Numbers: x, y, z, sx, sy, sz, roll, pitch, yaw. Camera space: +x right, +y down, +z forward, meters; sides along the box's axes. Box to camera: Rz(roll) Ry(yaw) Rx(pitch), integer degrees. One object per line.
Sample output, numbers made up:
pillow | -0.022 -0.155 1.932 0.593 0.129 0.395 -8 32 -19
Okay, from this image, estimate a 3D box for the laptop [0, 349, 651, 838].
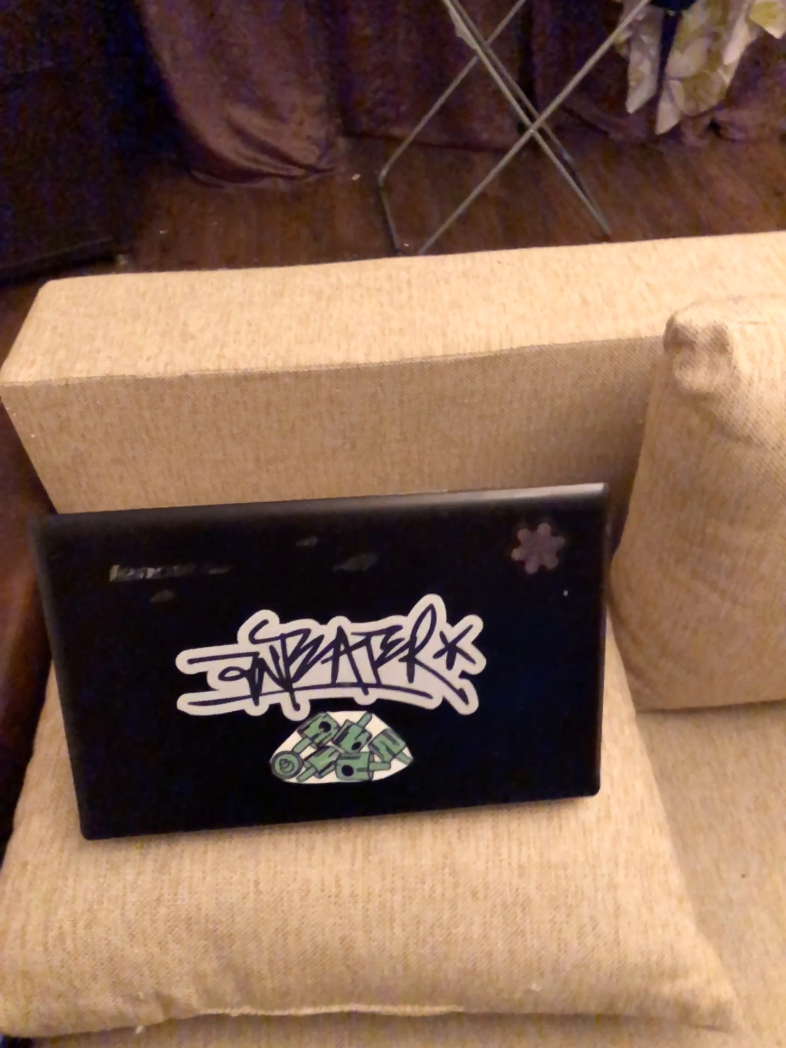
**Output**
laptop | -0.054 0.052 0.688 0.413 0.223 0.268 -4 53 -4
